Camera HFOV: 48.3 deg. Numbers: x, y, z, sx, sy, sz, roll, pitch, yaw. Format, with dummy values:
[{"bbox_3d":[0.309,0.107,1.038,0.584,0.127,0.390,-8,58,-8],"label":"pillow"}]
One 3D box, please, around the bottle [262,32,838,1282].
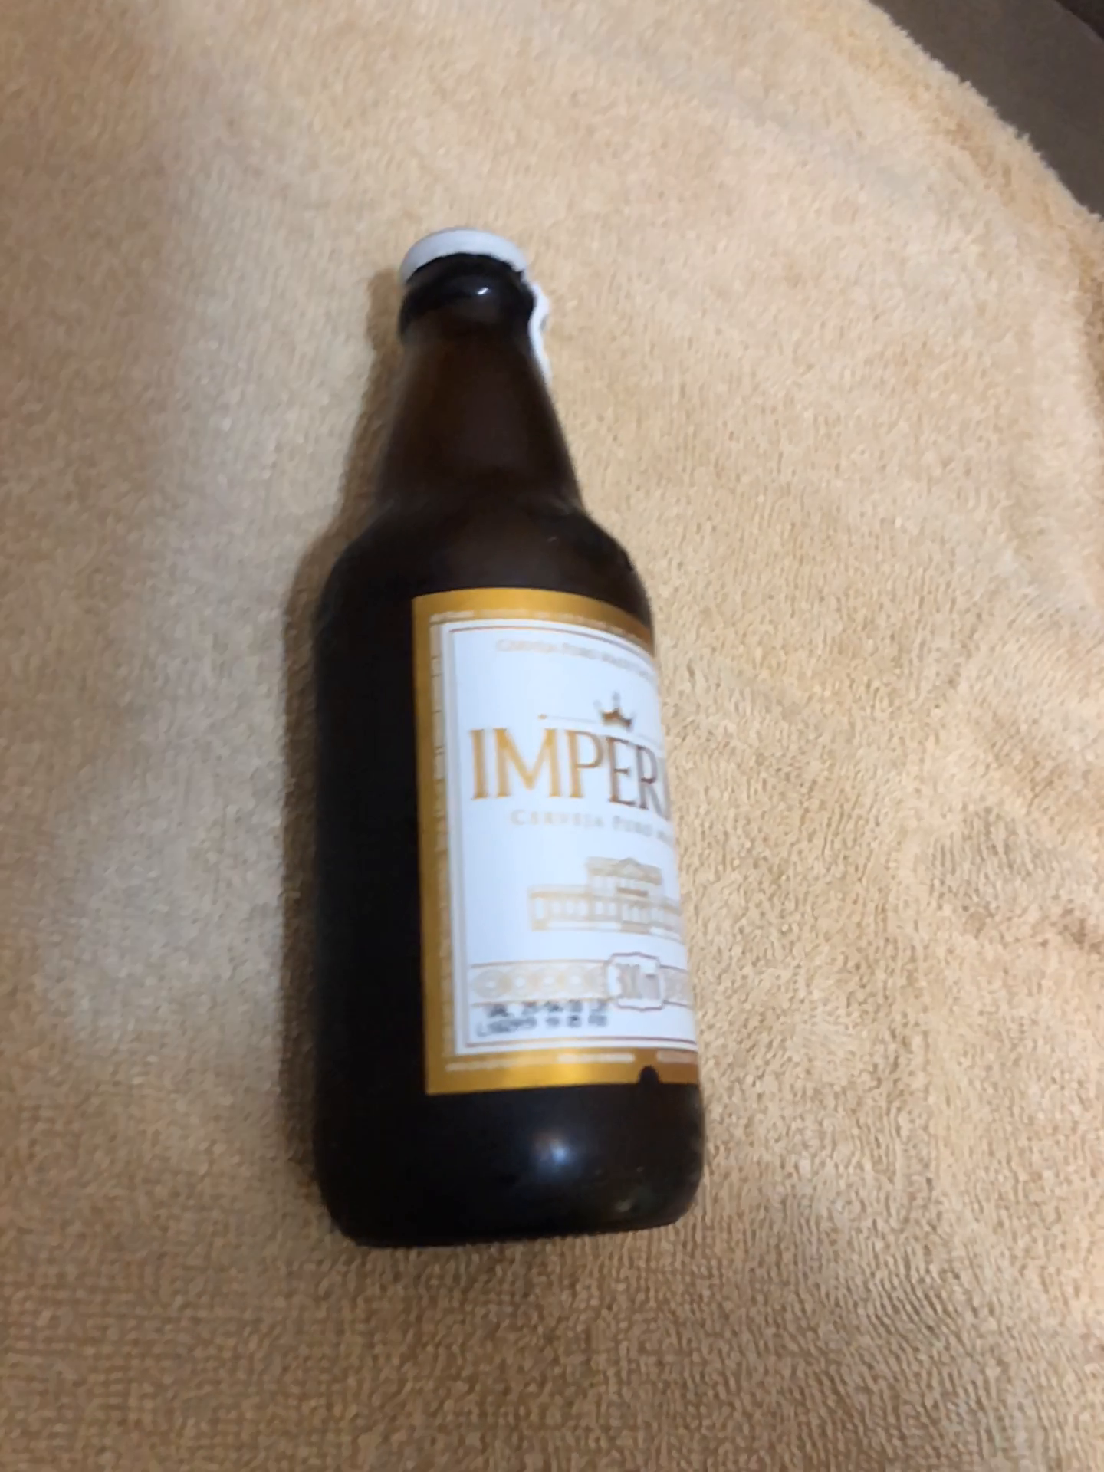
[{"bbox_3d":[-0.009,-0.014,0.211,0.060,0.060,0.190,8,66,-33],"label":"bottle"}]
